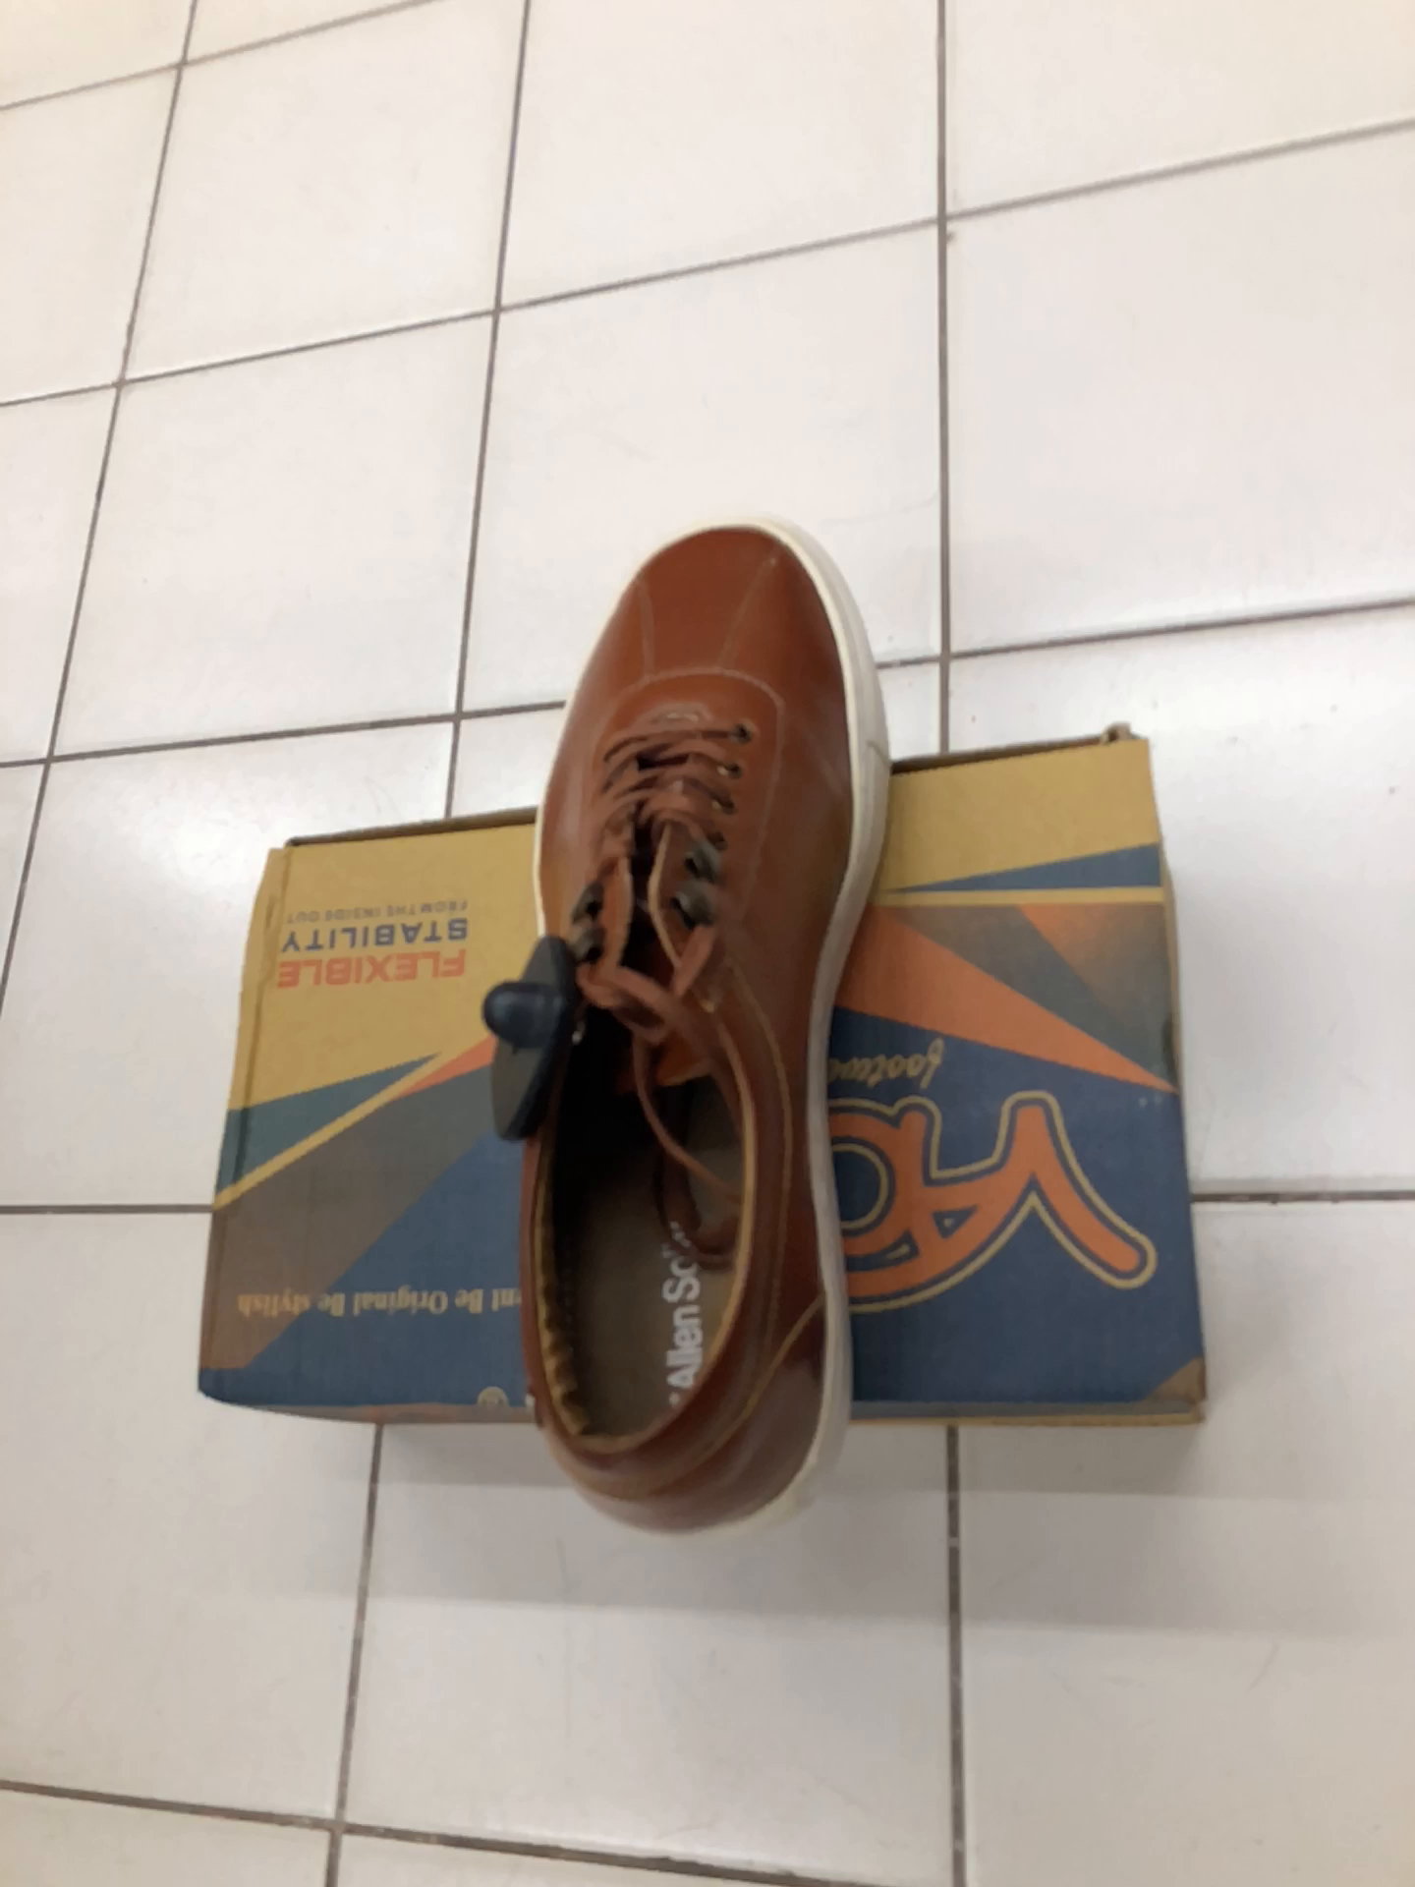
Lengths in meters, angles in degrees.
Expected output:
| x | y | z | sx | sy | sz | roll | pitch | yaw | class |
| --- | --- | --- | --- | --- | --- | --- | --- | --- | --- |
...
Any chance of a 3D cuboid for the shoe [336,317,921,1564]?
| x | y | z | sx | sy | sz | roll | pitch | yaw | class |
| --- | --- | --- | --- | --- | --- | --- | --- | --- | --- |
| -0.010 | 0.002 | 0.392 | 0.100 | 0.110 | 0.280 | -5 | 70 | 16 | shoe |
